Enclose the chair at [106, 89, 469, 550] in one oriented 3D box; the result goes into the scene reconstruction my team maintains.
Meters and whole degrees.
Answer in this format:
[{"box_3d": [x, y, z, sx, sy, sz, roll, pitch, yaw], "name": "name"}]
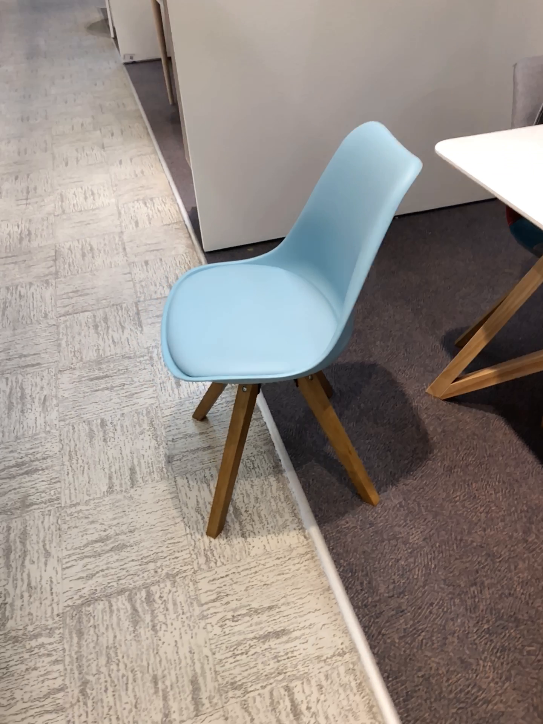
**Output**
[{"box_3d": [0.001, -0.095, 1.346, 0.560, 0.795, 0.543, -10, 39, -8], "name": "chair"}]
